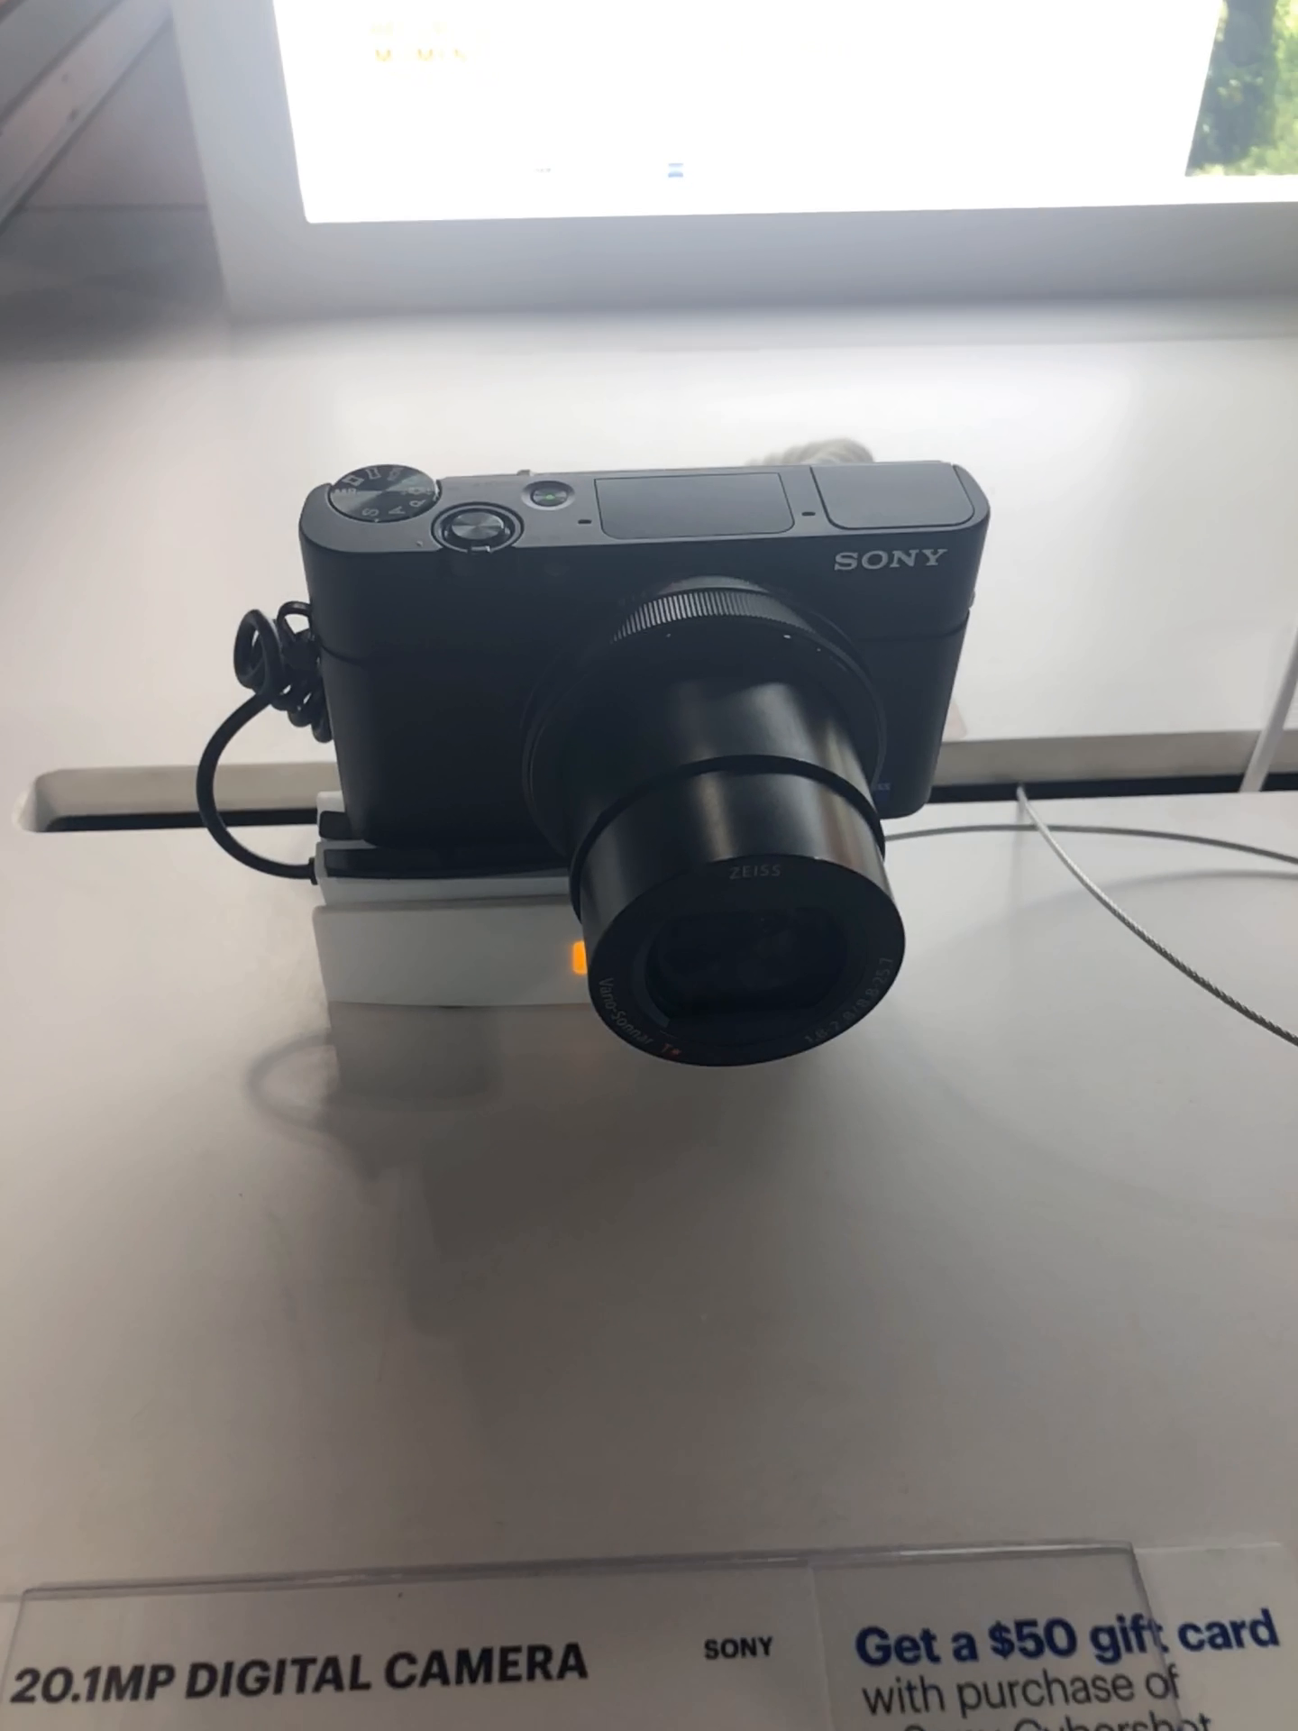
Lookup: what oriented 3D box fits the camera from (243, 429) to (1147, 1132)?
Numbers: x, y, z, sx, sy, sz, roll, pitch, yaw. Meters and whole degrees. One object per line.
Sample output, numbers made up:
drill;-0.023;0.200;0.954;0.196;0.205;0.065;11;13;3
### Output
camera;0.004;-0.014;0.217;0.105;0.074;0.070;-2;42;-2
